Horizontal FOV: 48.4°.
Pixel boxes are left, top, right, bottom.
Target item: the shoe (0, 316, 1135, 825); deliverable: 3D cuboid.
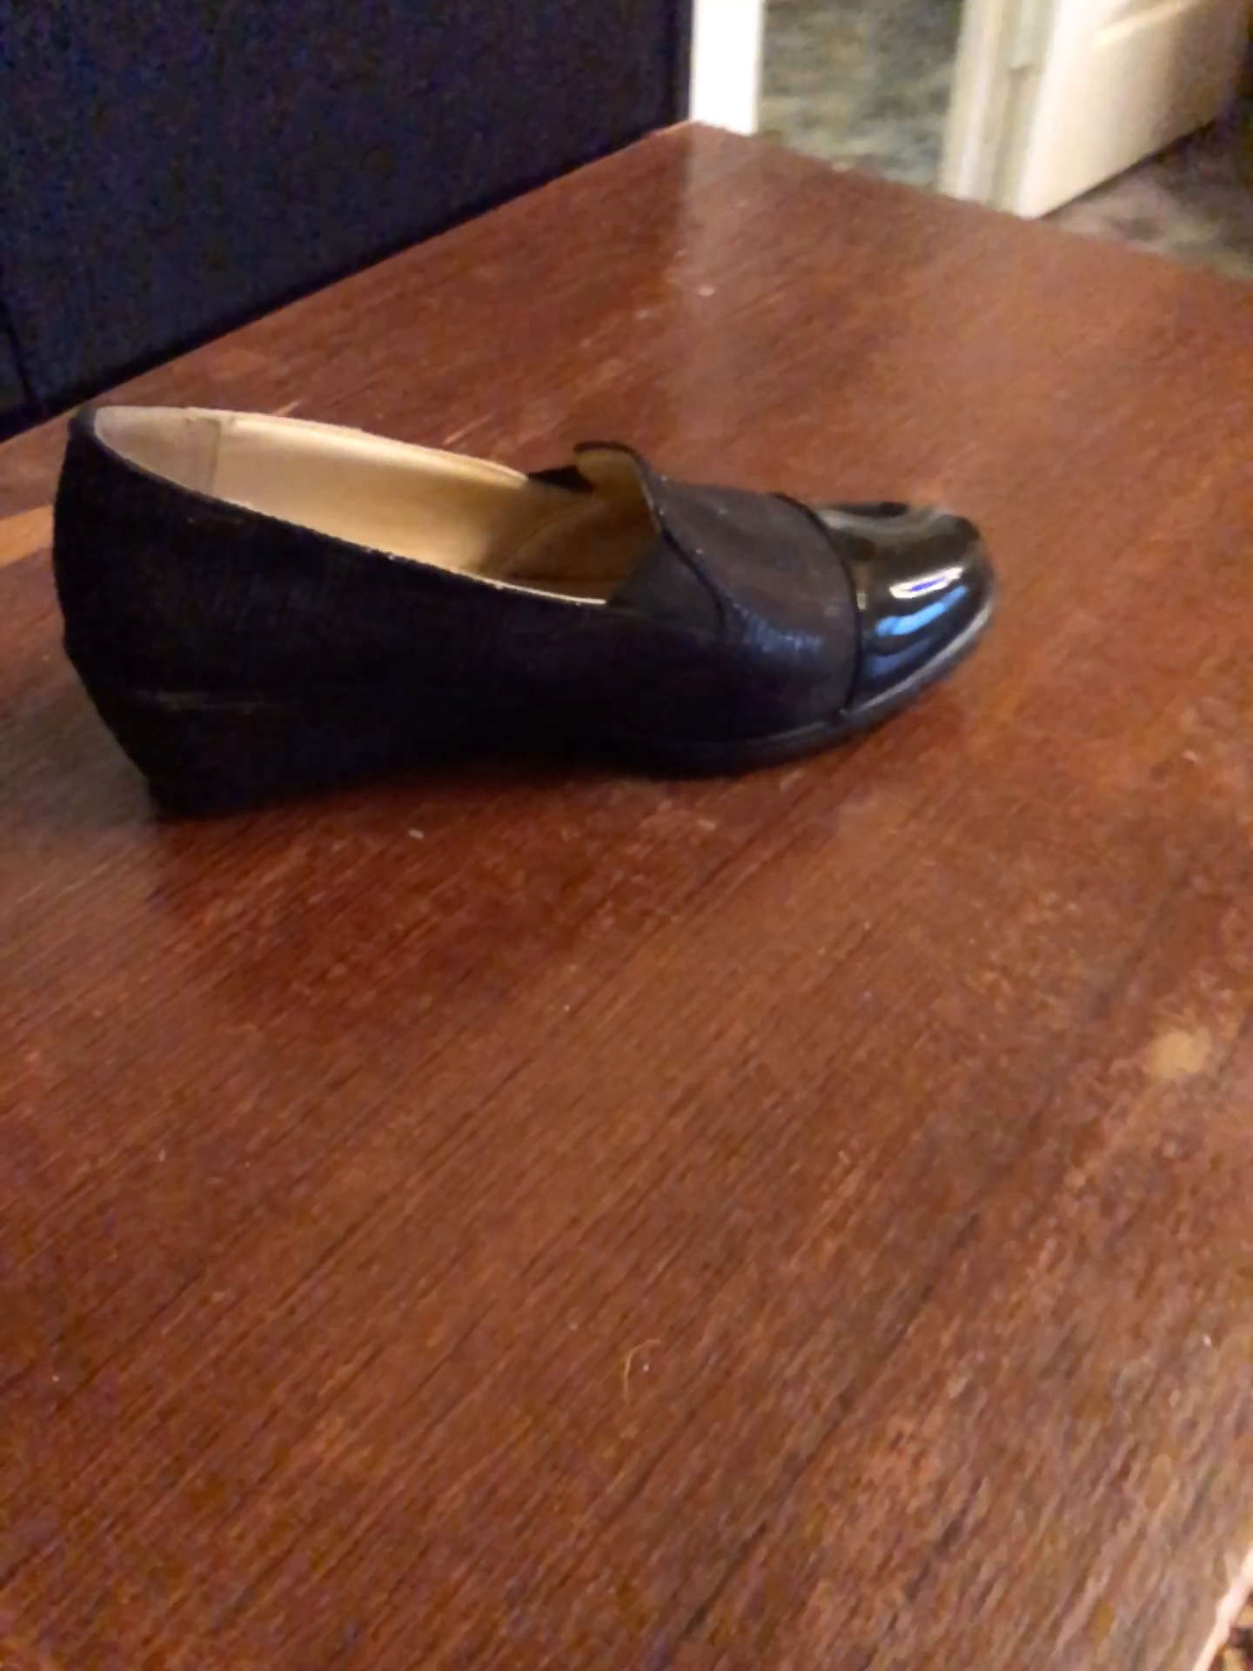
[{"bbox_3d":[-0.016,-0.070,0.335,0.236,0.070,0.090,-6,46,-13],"label":"shoe"}]
